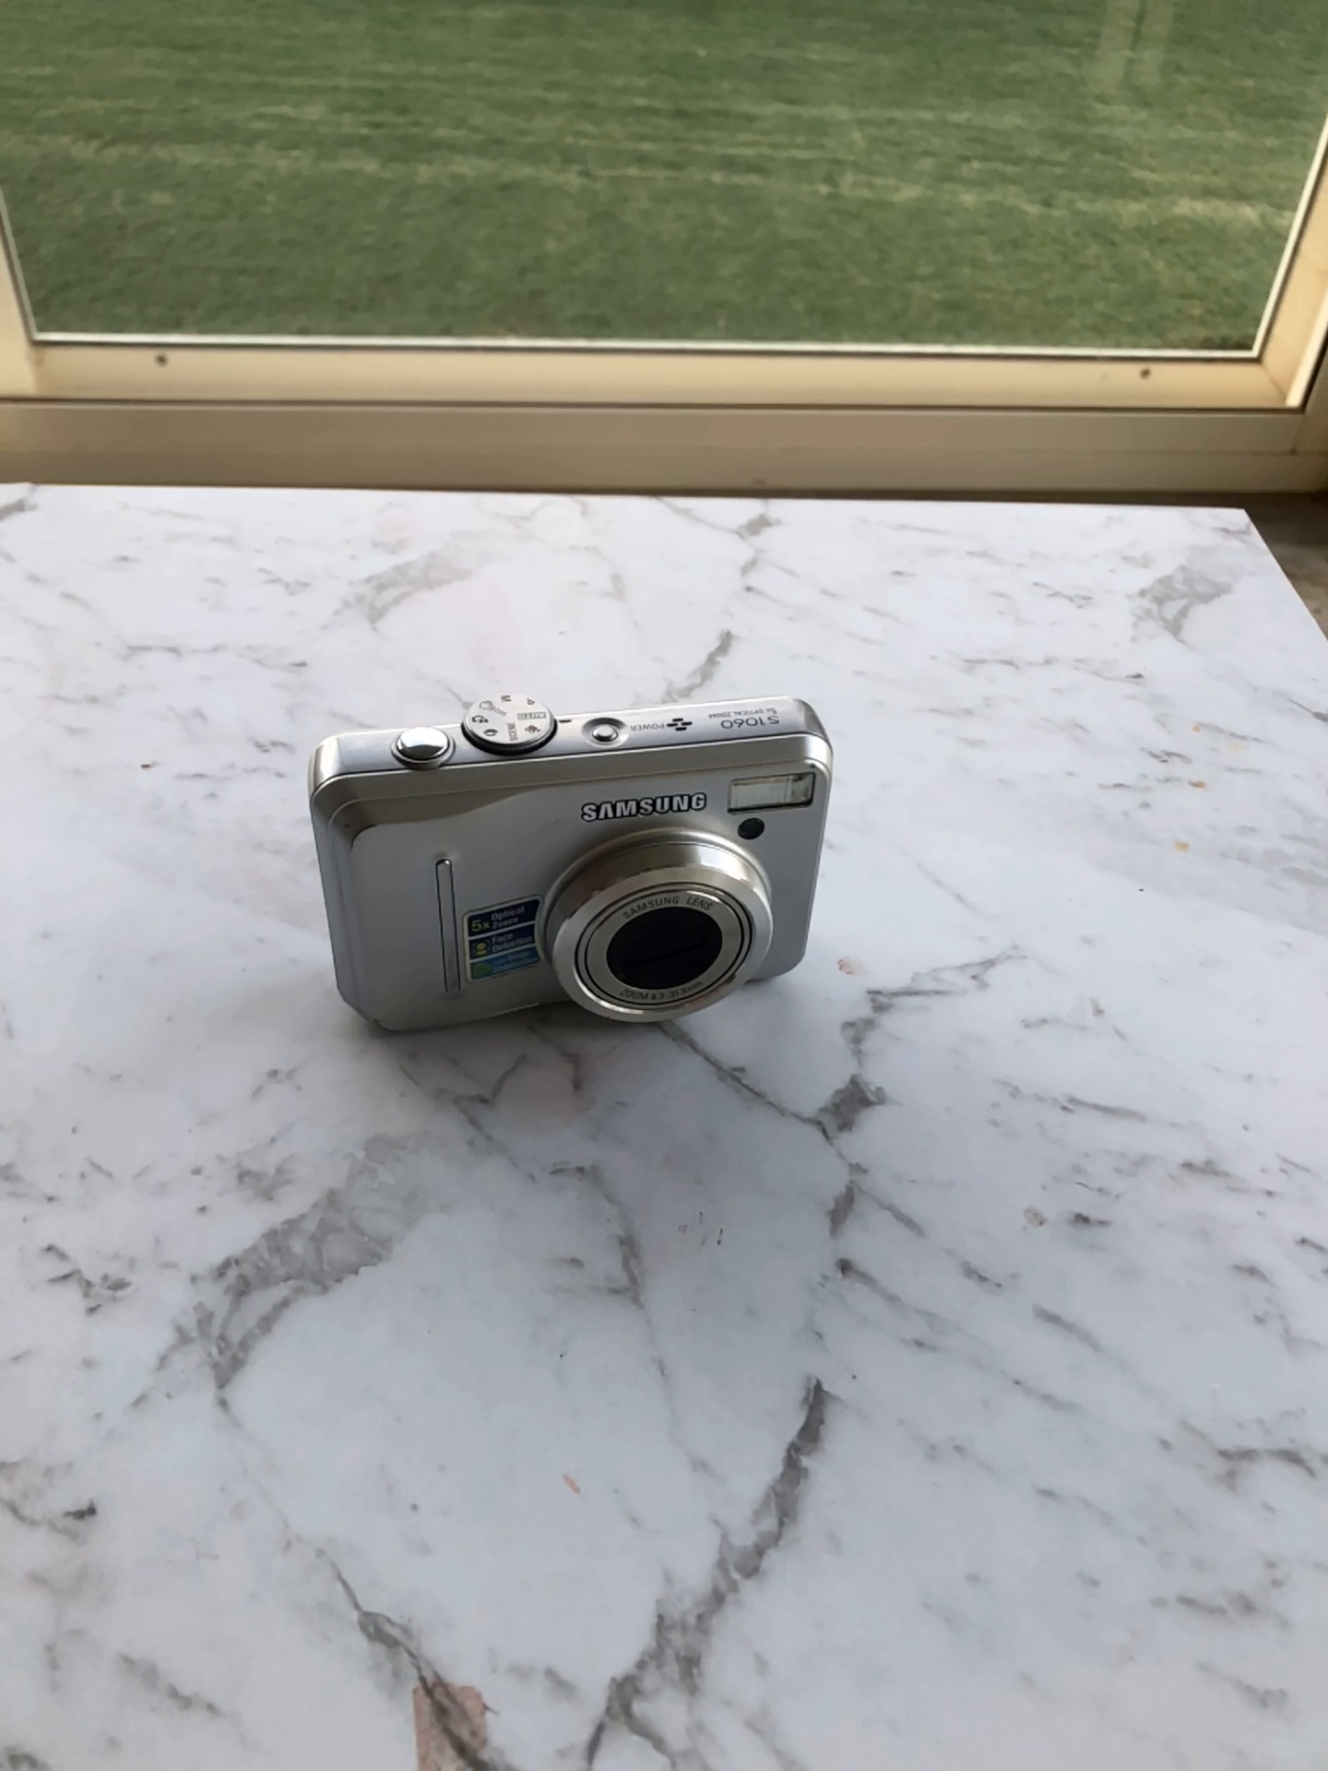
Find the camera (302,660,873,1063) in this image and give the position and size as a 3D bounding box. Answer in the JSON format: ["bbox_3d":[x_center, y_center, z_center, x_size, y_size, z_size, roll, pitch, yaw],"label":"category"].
[{"bbox_3d":[-0.016,-0.005,0.287,0.099,0.061,0.034,-6,44,-10],"label":"camera"}]
